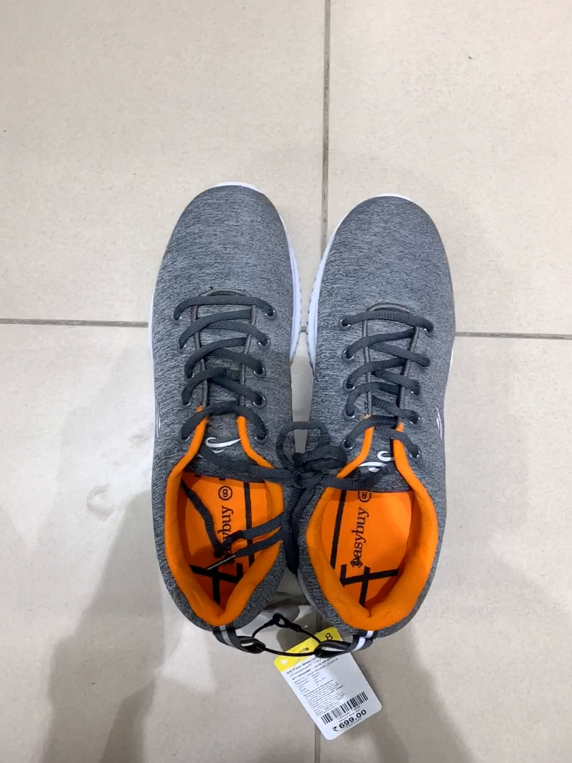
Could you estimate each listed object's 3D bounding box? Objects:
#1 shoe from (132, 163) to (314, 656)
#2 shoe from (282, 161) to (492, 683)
[{"bbox_3d":[-0.038,0.015,0.379,0.100,0.090,0.280,0,85,-2],"label":"shoe"},{"bbox_3d":[0.062,0.023,0.391,0.100,0.090,0.300,5,85,-1],"label":"shoe"}]
